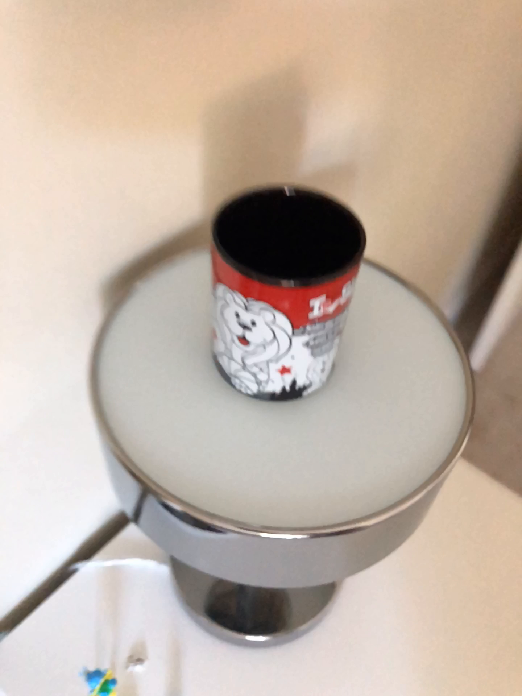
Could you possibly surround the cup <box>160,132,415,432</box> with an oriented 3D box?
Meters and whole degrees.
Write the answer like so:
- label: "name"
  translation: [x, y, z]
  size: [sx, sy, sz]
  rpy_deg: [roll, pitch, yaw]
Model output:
- label: "cup"
  translation: [0.017, -0.044, 0.353]
  size: [0.090, 0.100, 0.130]
  rpy_deg: [23, 50, 16]
